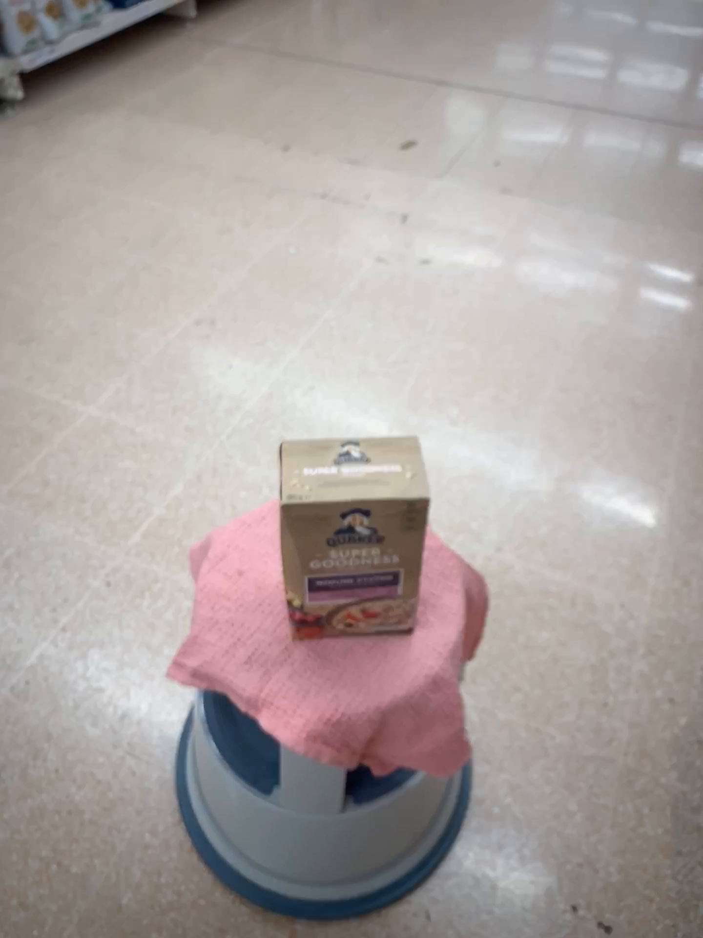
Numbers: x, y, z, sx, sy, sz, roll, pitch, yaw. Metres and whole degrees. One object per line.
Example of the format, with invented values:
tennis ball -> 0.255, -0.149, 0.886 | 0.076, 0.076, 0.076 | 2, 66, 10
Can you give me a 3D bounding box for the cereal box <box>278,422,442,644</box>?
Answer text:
cereal box -> 0.001, 0.066, 0.693 | 0.130, 0.208, 0.091 | -3, 46, -5
